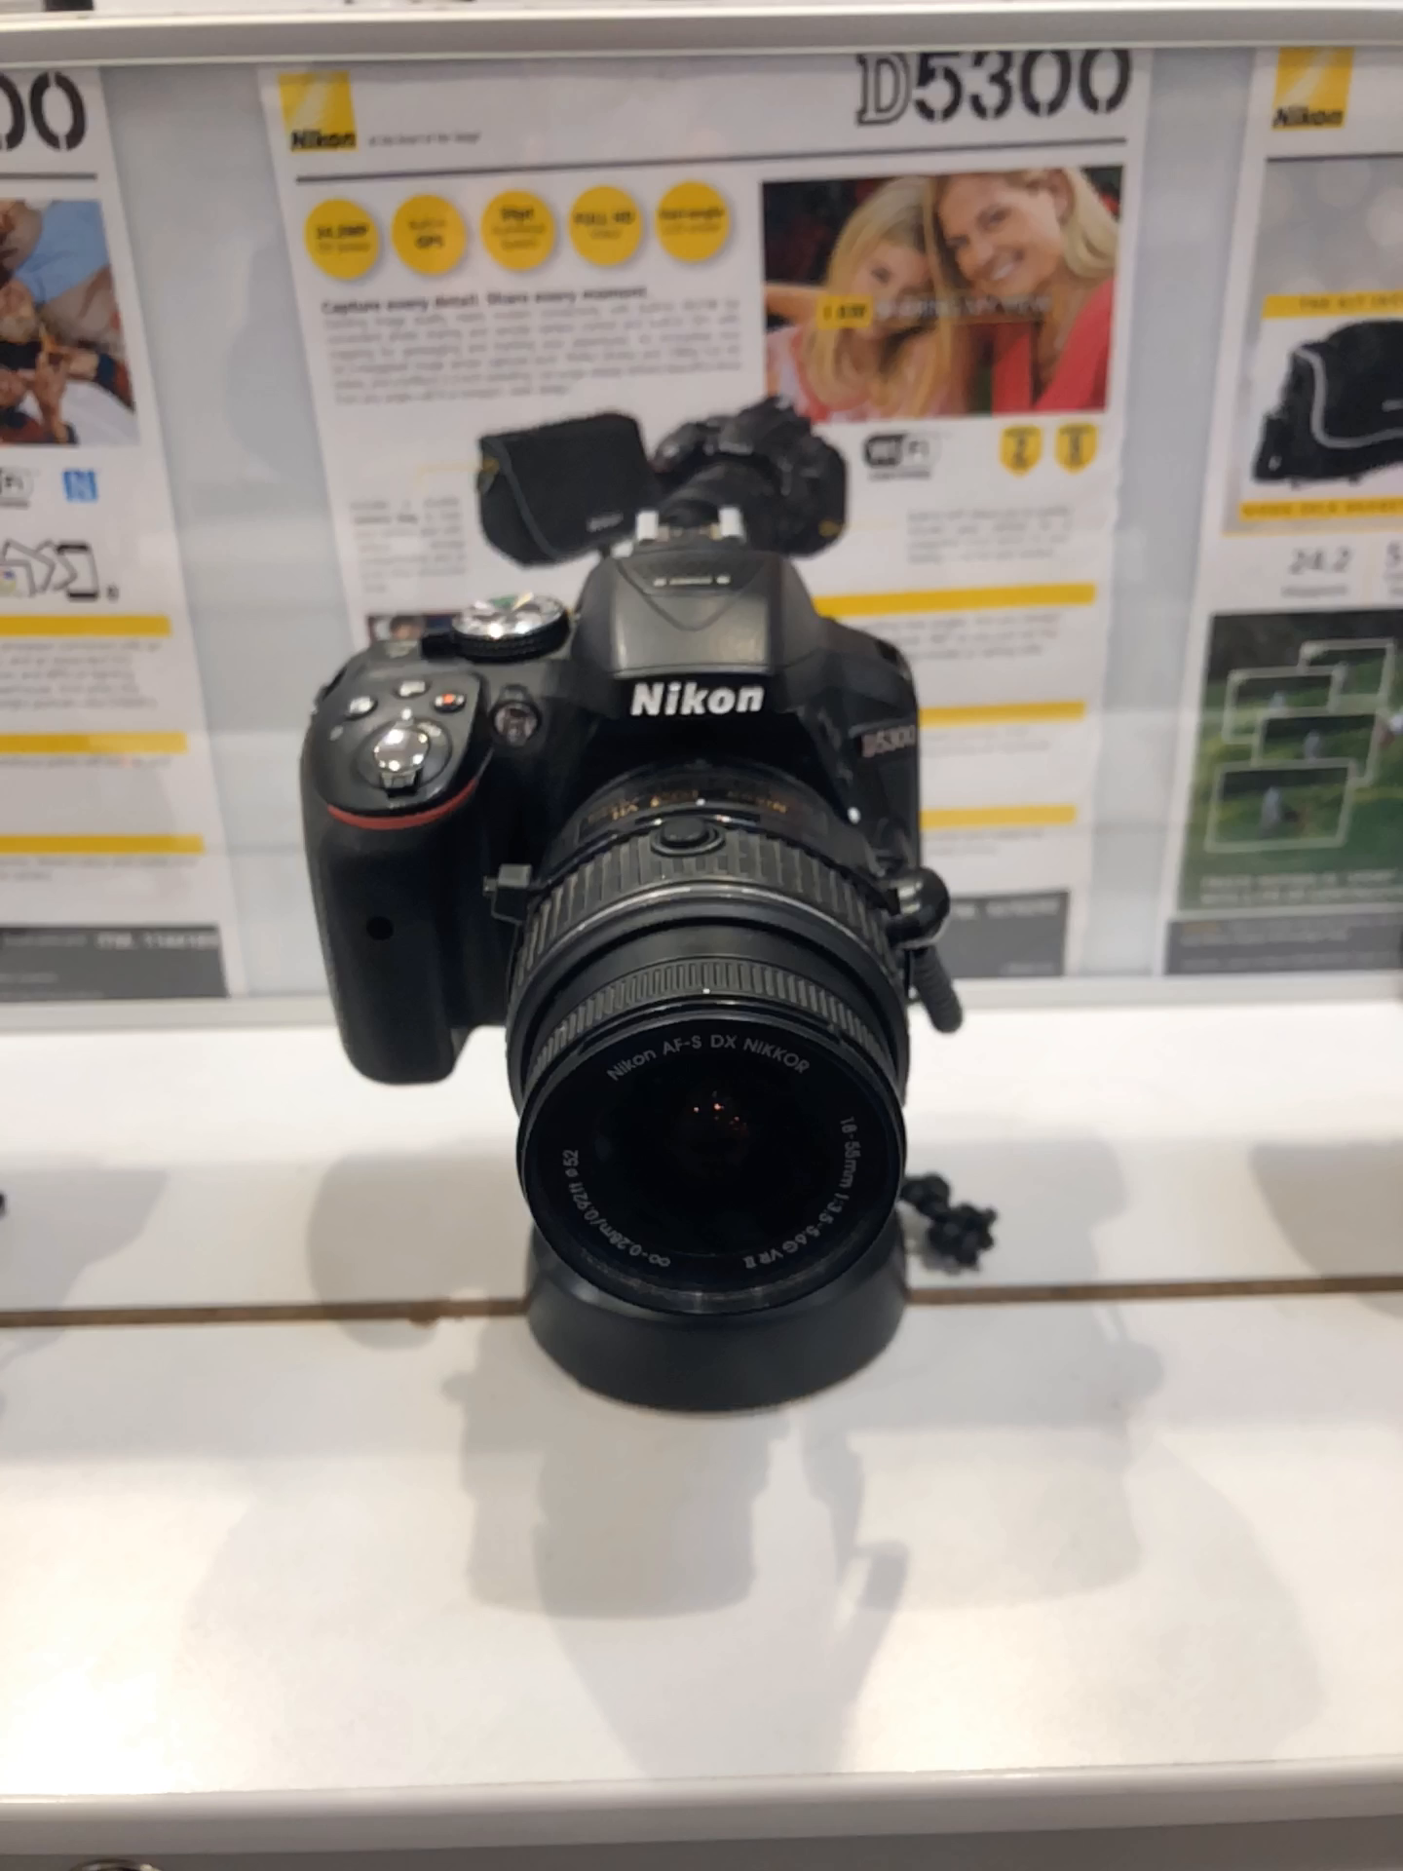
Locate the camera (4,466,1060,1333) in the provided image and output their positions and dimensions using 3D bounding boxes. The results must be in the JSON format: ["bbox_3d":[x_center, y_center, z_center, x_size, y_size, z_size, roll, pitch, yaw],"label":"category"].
[{"bbox_3d":[-0.023,-0.019,0.281,0.130,0.089,0.151,-2,29,-2],"label":"camera"}]
